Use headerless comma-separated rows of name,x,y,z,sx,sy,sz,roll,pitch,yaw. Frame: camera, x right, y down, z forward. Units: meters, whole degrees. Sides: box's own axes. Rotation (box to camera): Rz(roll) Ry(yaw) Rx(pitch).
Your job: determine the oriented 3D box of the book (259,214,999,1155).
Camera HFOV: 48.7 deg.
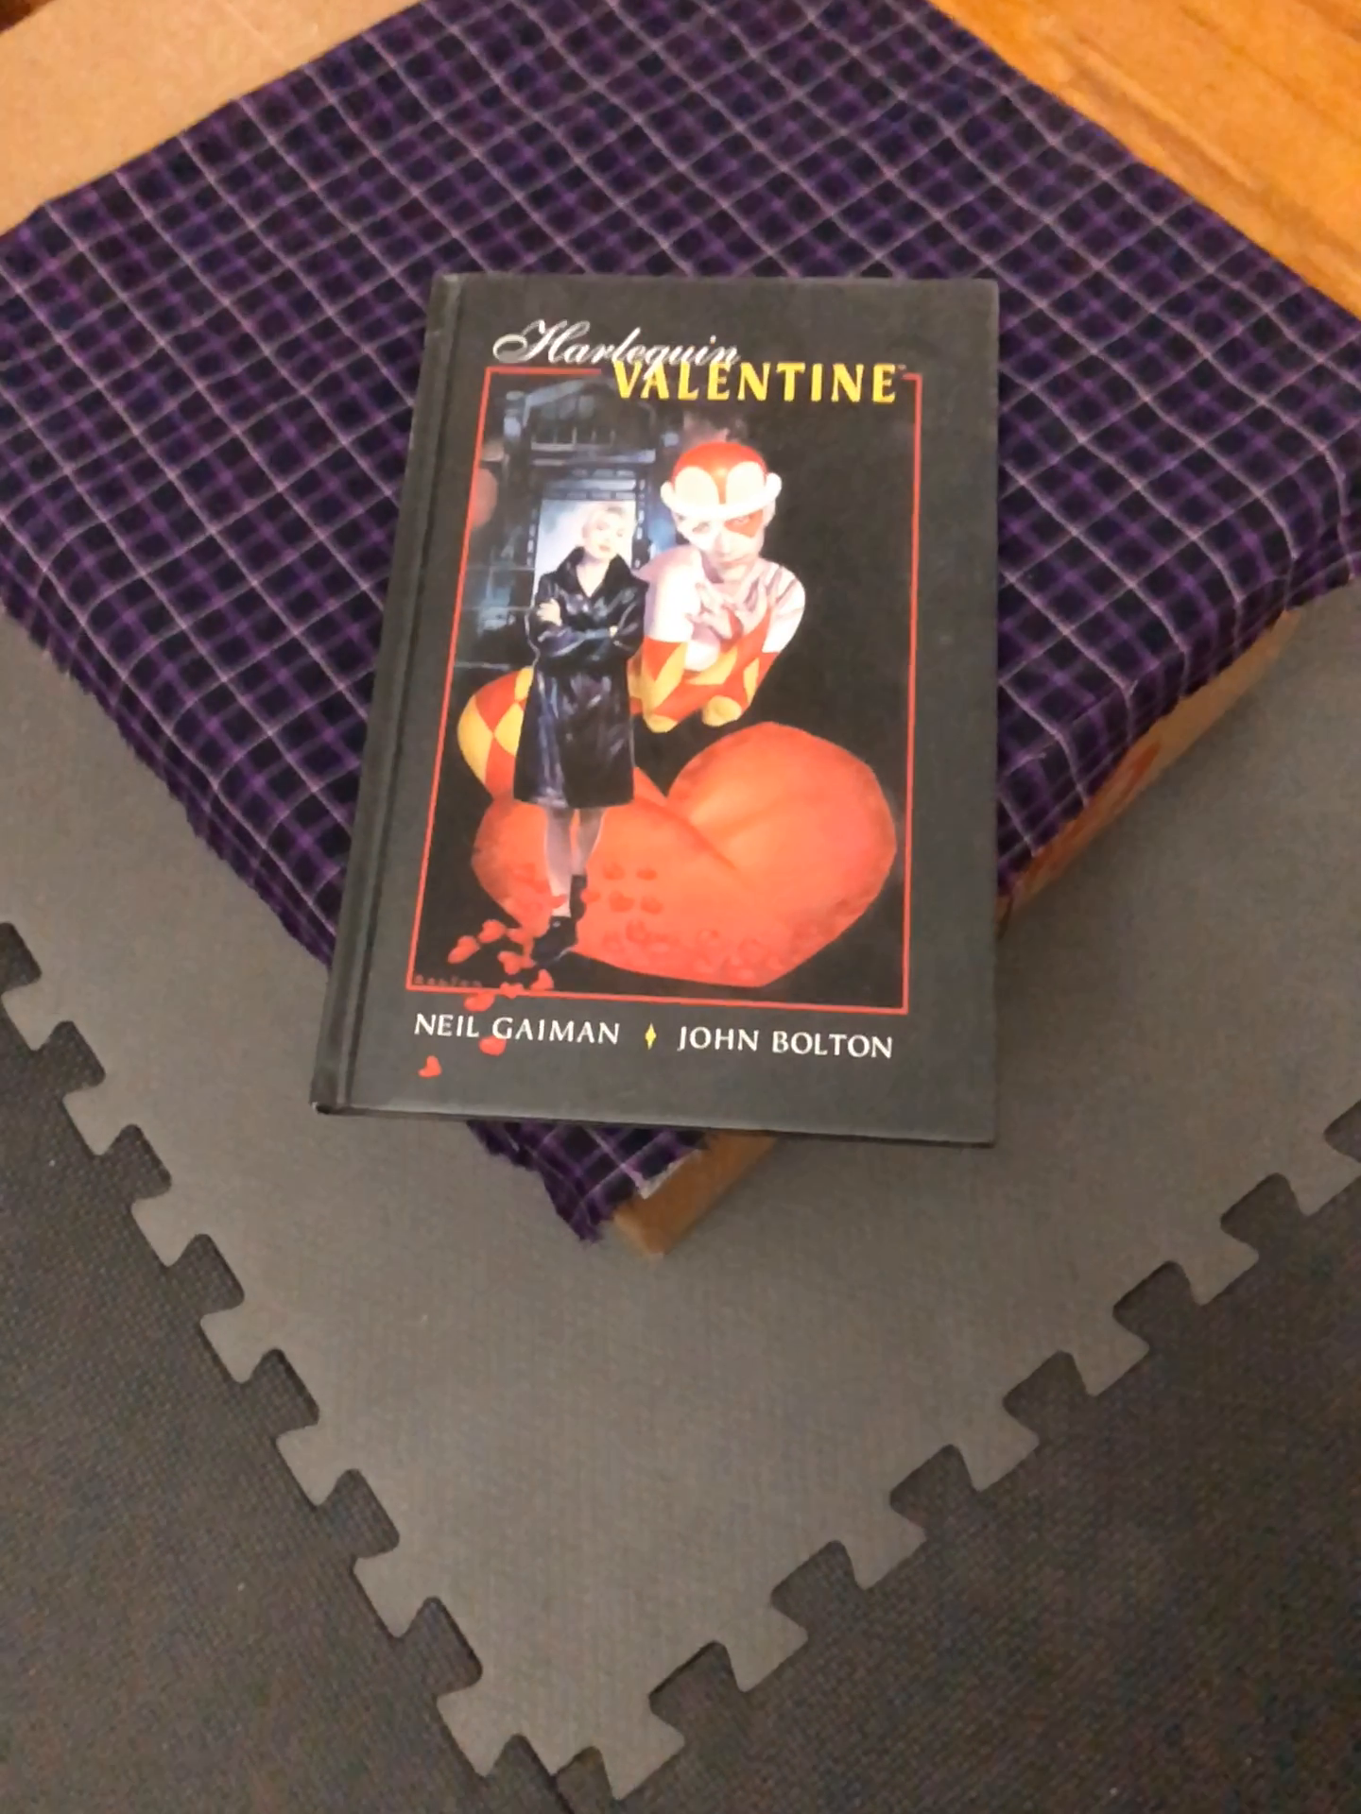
book,-0.006,-0.076,0.420,0.180,0.020,0.281,2,70,4
